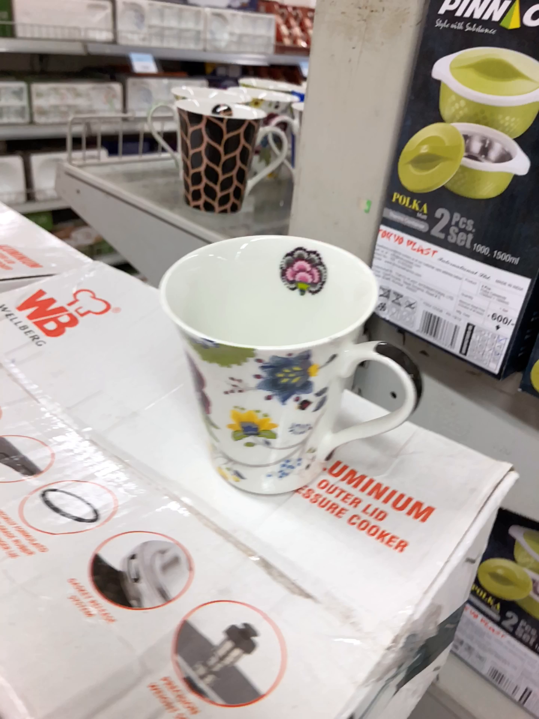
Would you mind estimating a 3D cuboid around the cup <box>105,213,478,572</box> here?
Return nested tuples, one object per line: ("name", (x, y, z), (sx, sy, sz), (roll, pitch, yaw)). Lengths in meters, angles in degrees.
("cup", (0.010, 0.008, 0.260), (0.120, 0.089, 0.081), (20, 44, 22))
